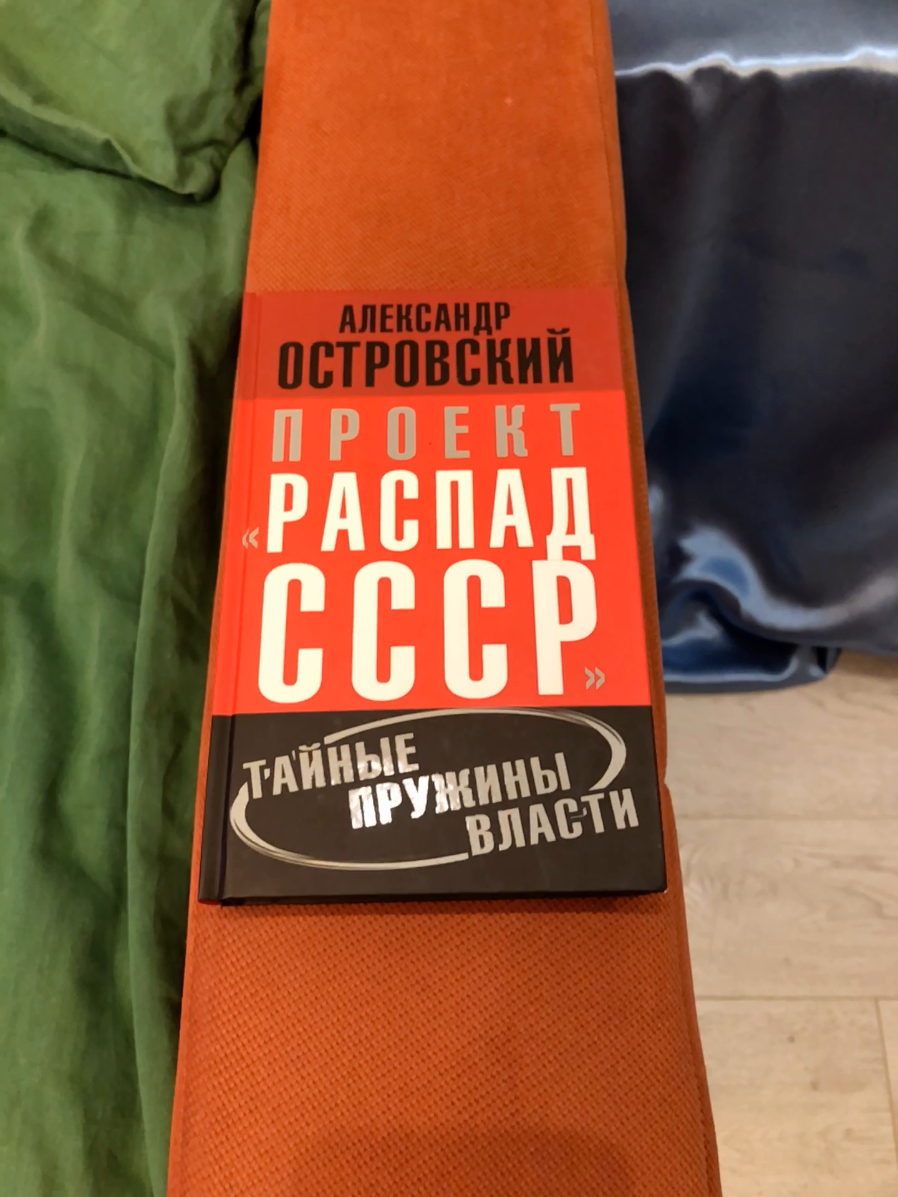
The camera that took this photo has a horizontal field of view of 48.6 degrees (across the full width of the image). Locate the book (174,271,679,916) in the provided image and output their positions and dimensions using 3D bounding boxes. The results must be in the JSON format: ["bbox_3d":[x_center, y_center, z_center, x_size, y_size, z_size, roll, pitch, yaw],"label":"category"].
[{"bbox_3d":[-0.007,-0.009,0.317,0.135,0.030,0.207,-1,69,0],"label":"book"}]
